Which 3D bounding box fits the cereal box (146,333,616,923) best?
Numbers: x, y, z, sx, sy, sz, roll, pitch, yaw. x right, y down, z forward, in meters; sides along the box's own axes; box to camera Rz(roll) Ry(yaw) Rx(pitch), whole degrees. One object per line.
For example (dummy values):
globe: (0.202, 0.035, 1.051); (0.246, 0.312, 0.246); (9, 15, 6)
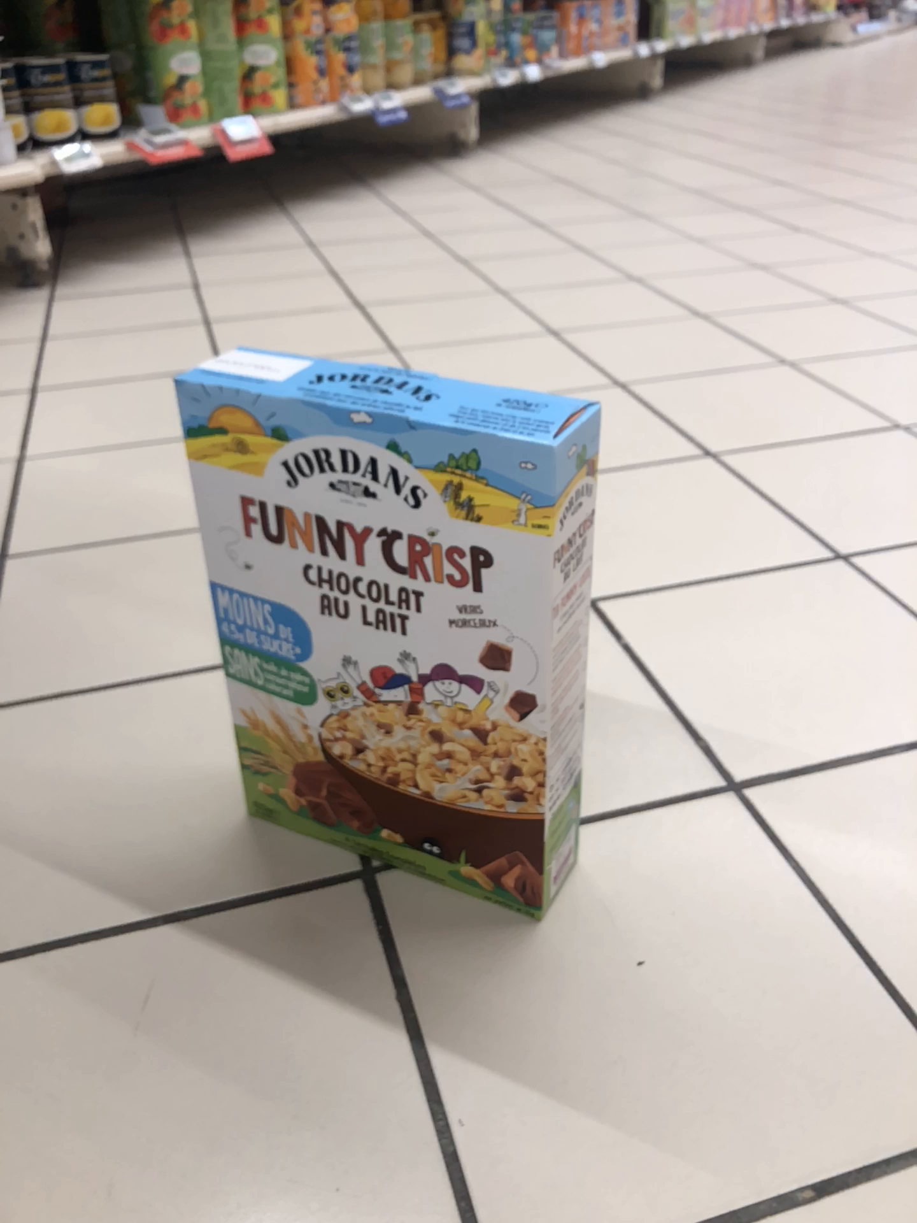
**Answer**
cereal box: (-0.031, 0.007, 0.460); (0.180, 0.229, 0.060); (14, 34, 24)
